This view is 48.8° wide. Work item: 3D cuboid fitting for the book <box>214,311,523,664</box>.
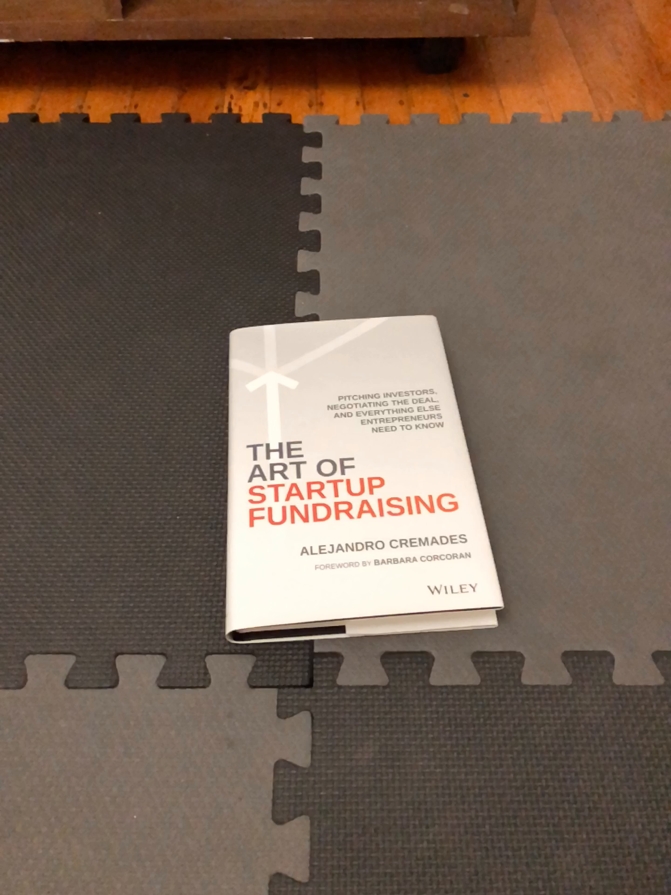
[{"bbox_3d":[0.012,0.011,0.492,0.170,0.030,0.251,-3,53,-2],"label":"book"}]
